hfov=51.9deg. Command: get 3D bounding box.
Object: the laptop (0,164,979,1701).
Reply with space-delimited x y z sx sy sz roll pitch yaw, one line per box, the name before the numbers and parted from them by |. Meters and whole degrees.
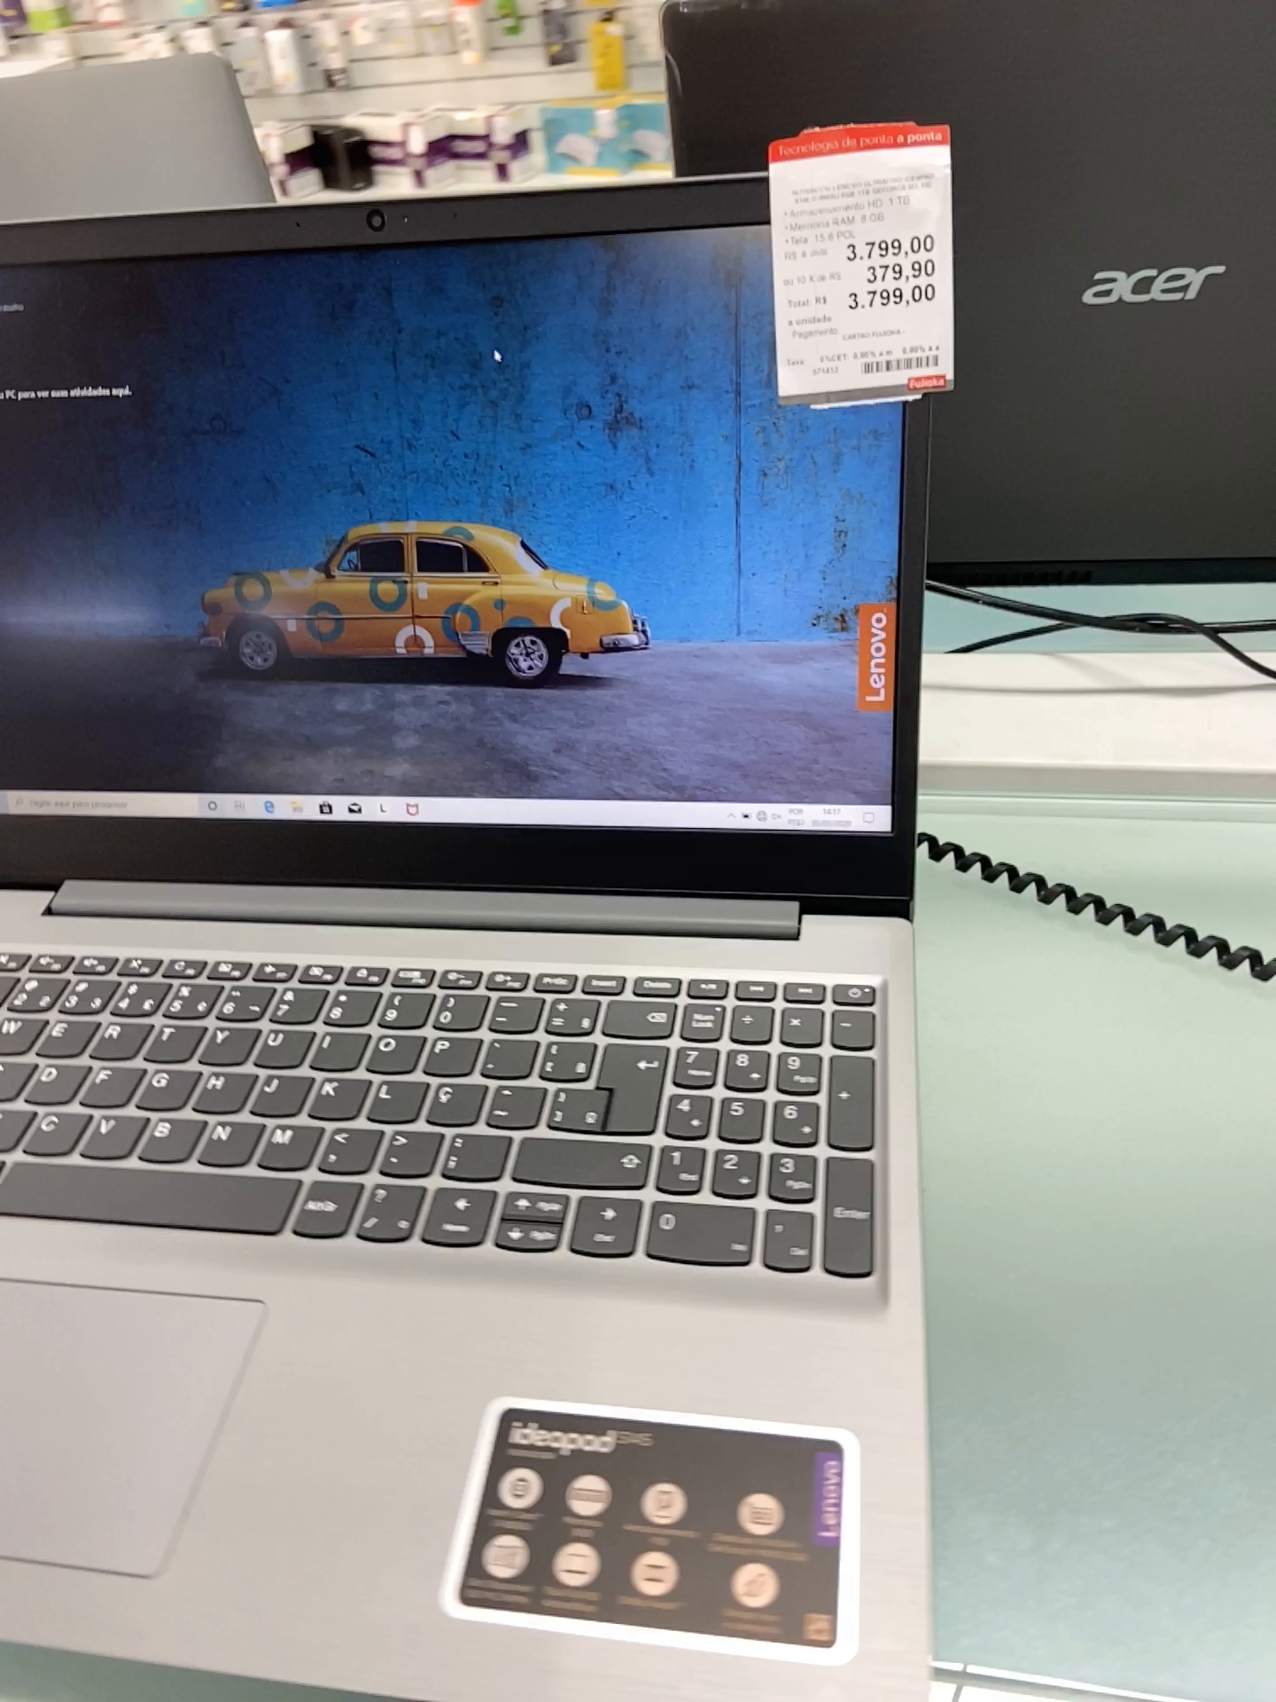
laptop | -0.106 -0.019 0.368 0.363 0.213 0.362 1 39 11
